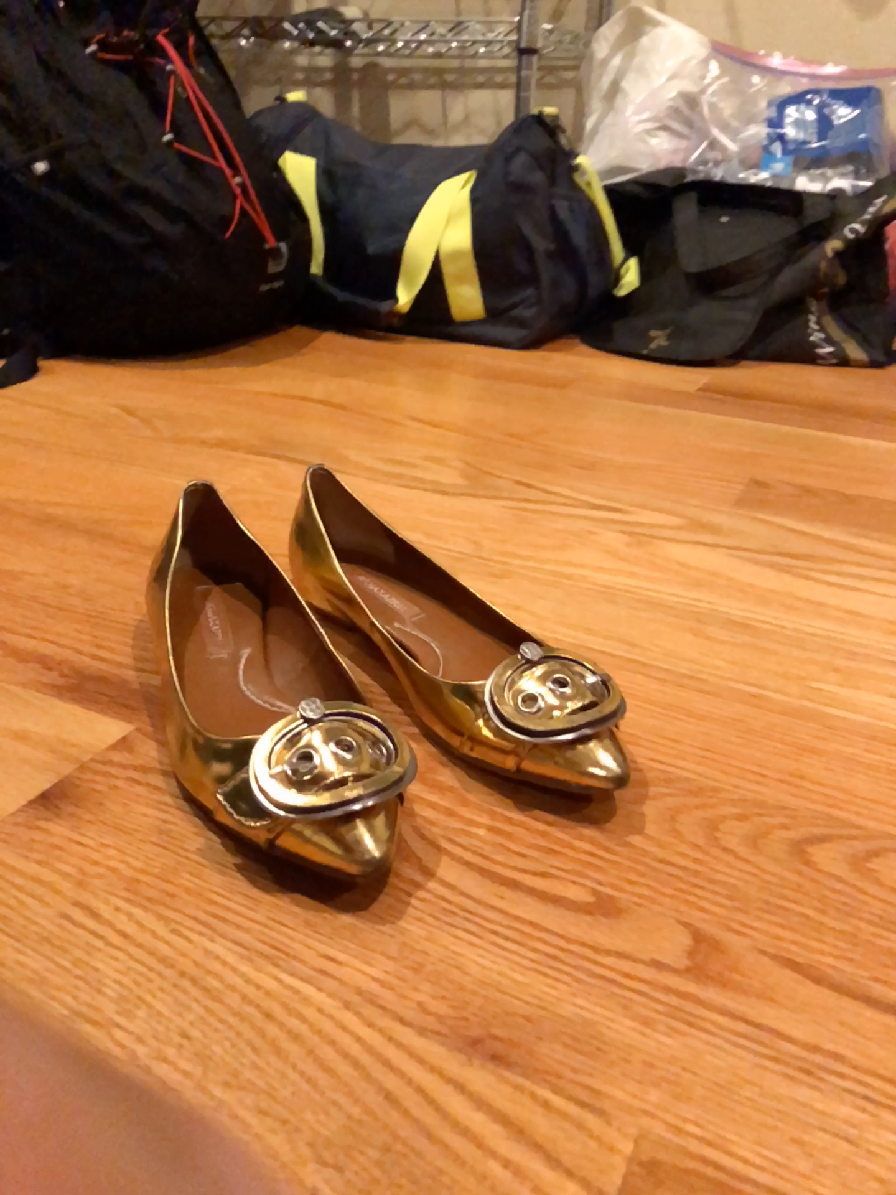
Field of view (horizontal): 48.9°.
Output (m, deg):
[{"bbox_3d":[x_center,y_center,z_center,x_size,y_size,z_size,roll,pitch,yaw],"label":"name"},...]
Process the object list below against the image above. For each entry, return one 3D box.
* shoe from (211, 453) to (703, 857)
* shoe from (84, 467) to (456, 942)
[{"bbox_3d":[-0.013,0.006,0.442,0.083,0.066,0.244,-16,32,-34],"label":"shoe"},{"bbox_3d":[-0.088,0.020,0.407,0.077,0.066,0.250,-10,29,-24],"label":"shoe"}]
